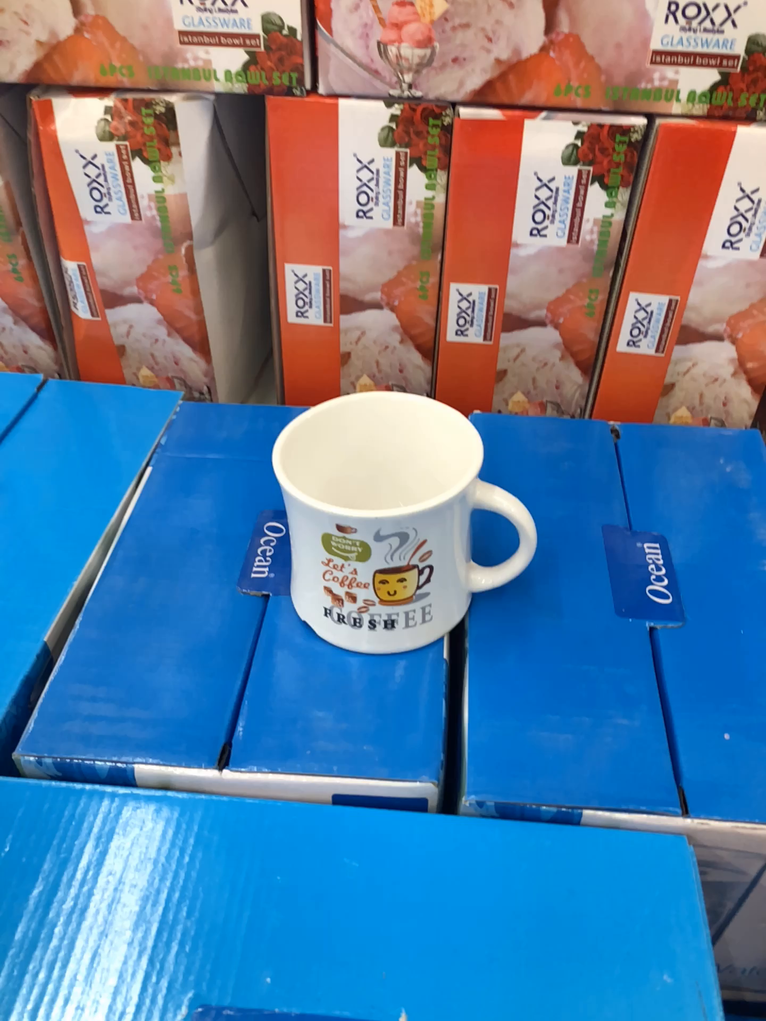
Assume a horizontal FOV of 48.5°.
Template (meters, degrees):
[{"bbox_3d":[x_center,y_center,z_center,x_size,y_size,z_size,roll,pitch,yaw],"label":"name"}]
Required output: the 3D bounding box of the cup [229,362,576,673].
[{"bbox_3d":[0.008,0.001,0.293,0.100,0.070,0.070,5,41,3],"label":"cup"}]
